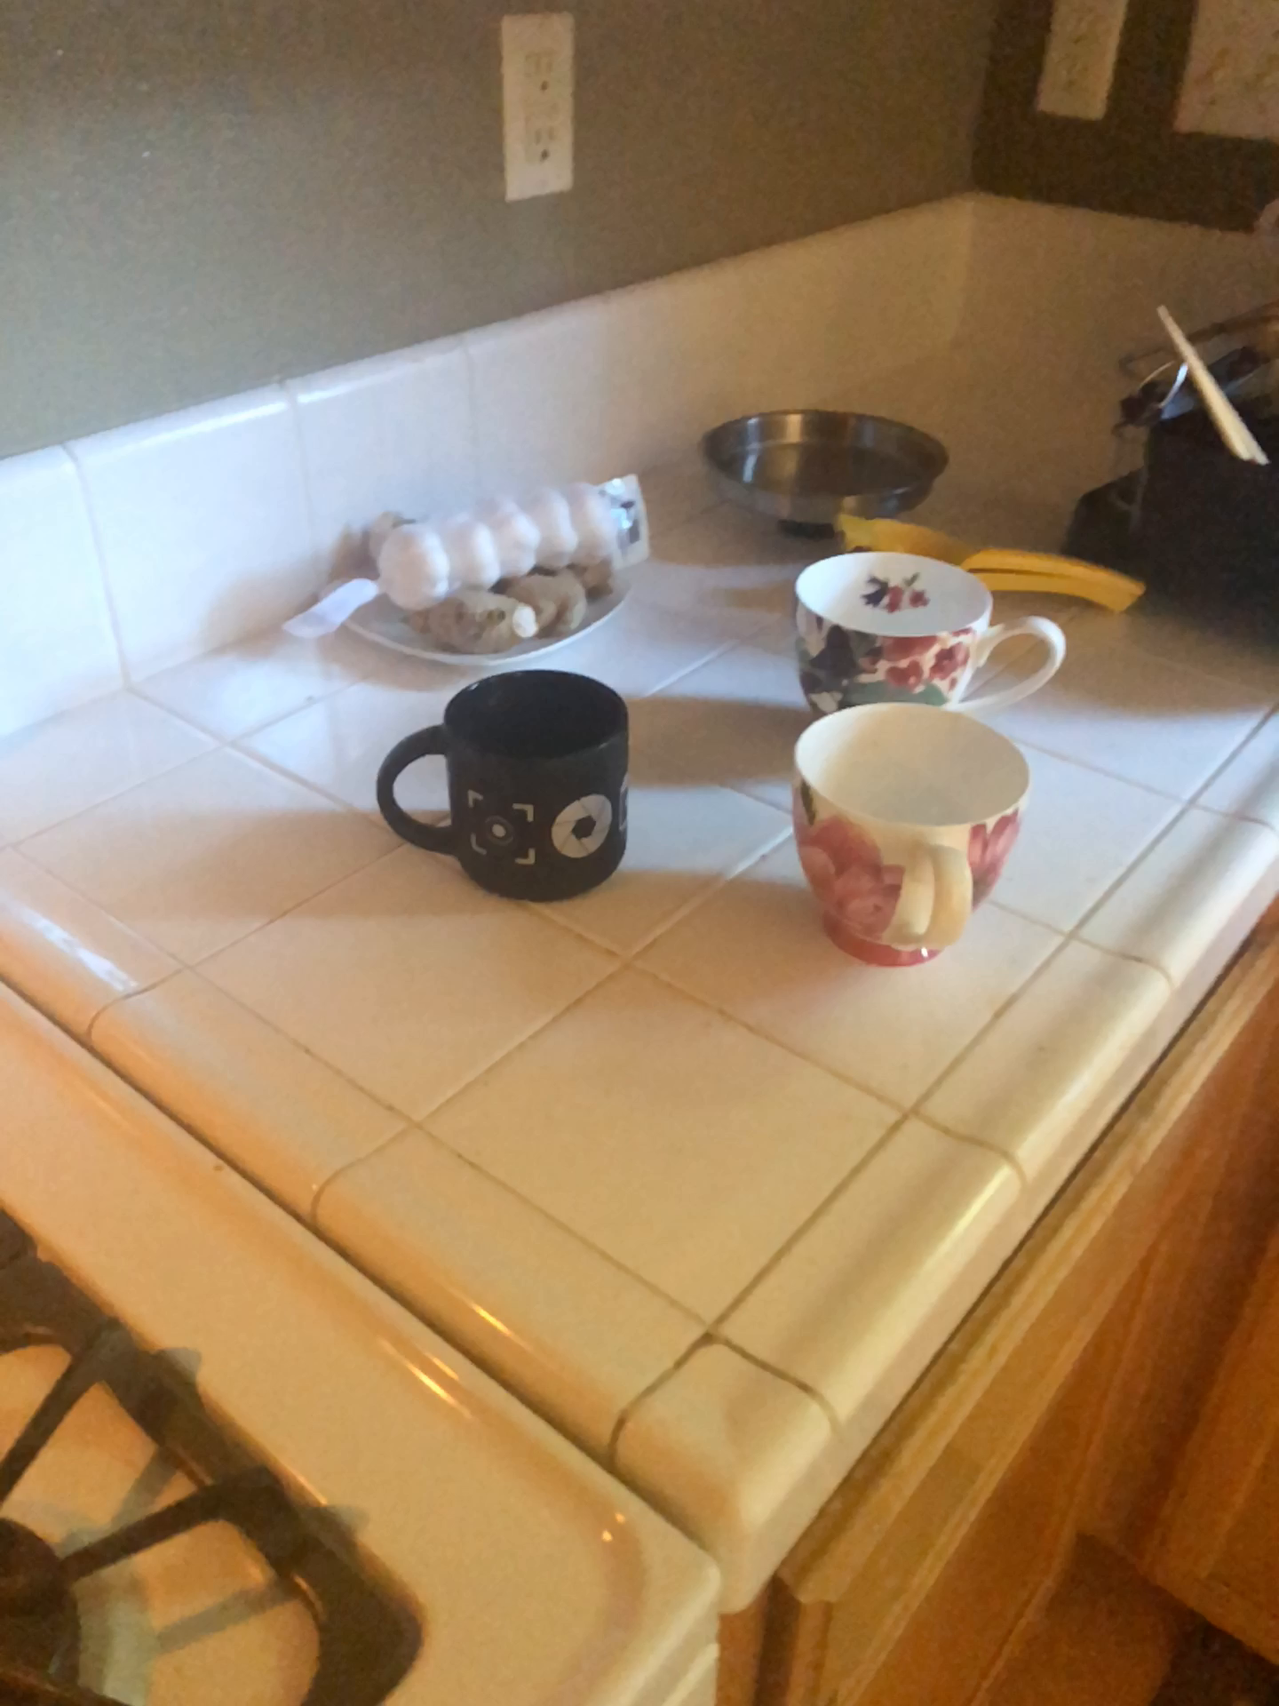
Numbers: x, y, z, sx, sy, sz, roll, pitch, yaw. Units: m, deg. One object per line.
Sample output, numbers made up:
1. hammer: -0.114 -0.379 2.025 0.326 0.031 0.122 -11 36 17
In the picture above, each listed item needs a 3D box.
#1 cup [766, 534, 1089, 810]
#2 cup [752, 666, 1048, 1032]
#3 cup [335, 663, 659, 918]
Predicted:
1. cup: 0.163 -0.107 0.797 0.150 0.089 0.111 13 37 16
2. cup: 0.118 -0.008 0.634 0.110 0.079 0.151 8 36 9
3. cup: -0.065 -0.034 0.702 0.140 0.069 0.111 4 36 3
